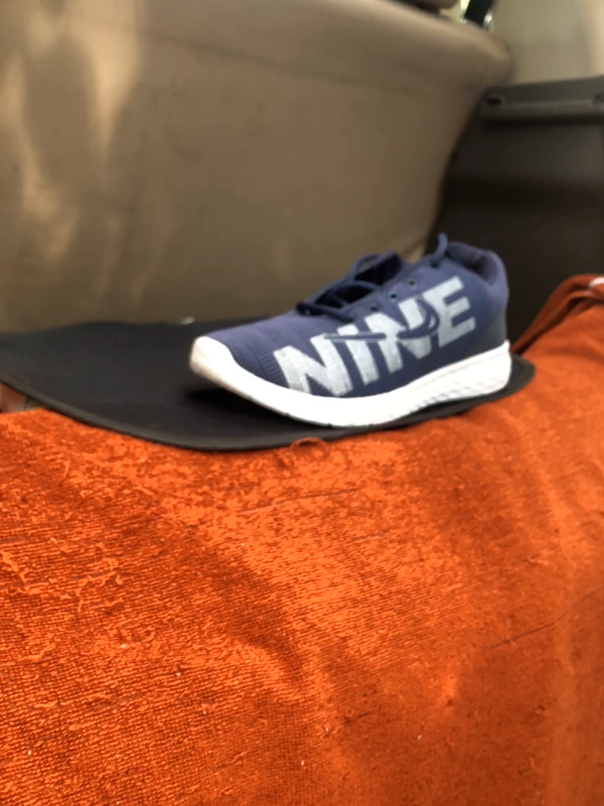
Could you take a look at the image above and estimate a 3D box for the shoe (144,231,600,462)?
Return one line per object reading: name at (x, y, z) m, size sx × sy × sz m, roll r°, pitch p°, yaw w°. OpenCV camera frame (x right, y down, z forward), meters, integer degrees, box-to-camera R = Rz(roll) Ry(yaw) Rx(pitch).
shoe at (0.055, -0.059, 0.469) m, size 0.291 × 0.100 × 0.130 m, roll -11°, pitch 24°, yaw -35°
